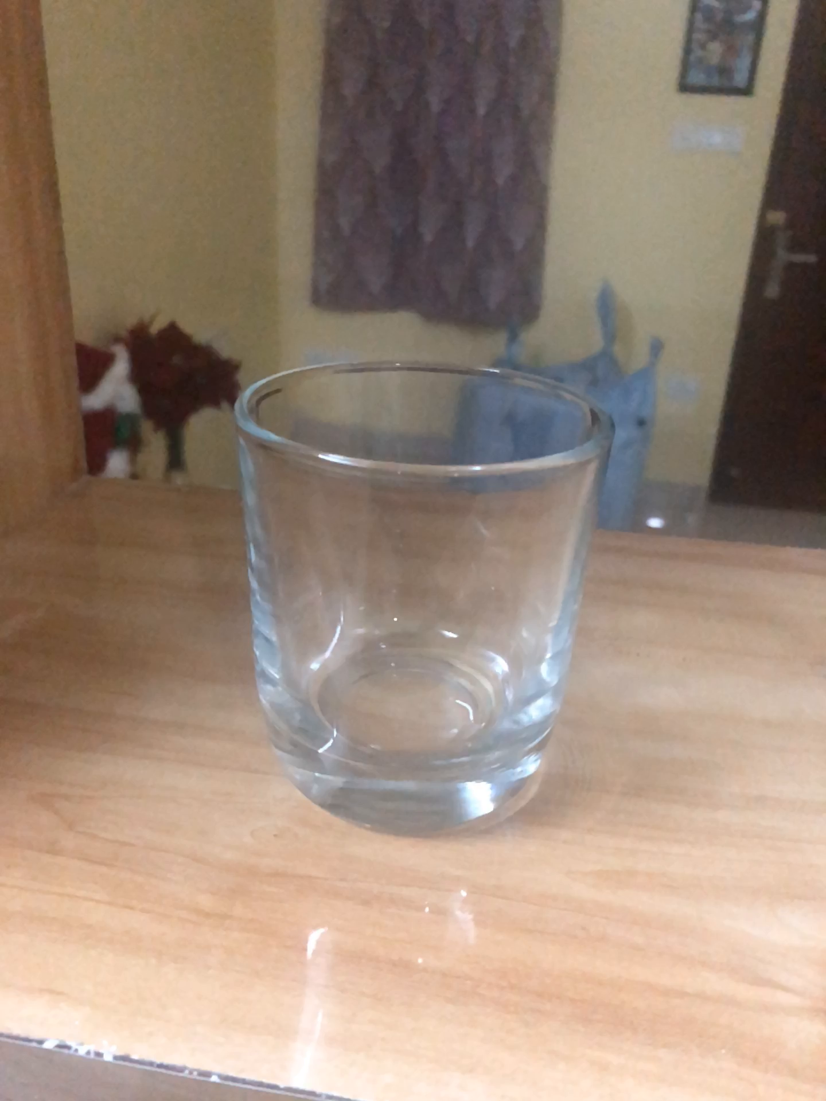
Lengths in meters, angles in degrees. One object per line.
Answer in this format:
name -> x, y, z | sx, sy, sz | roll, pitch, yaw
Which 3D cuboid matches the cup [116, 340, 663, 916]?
cup -> -0.005, 0.008, 0.221 | 0.090, 0.090, 0.080 | 18, 28, 29
